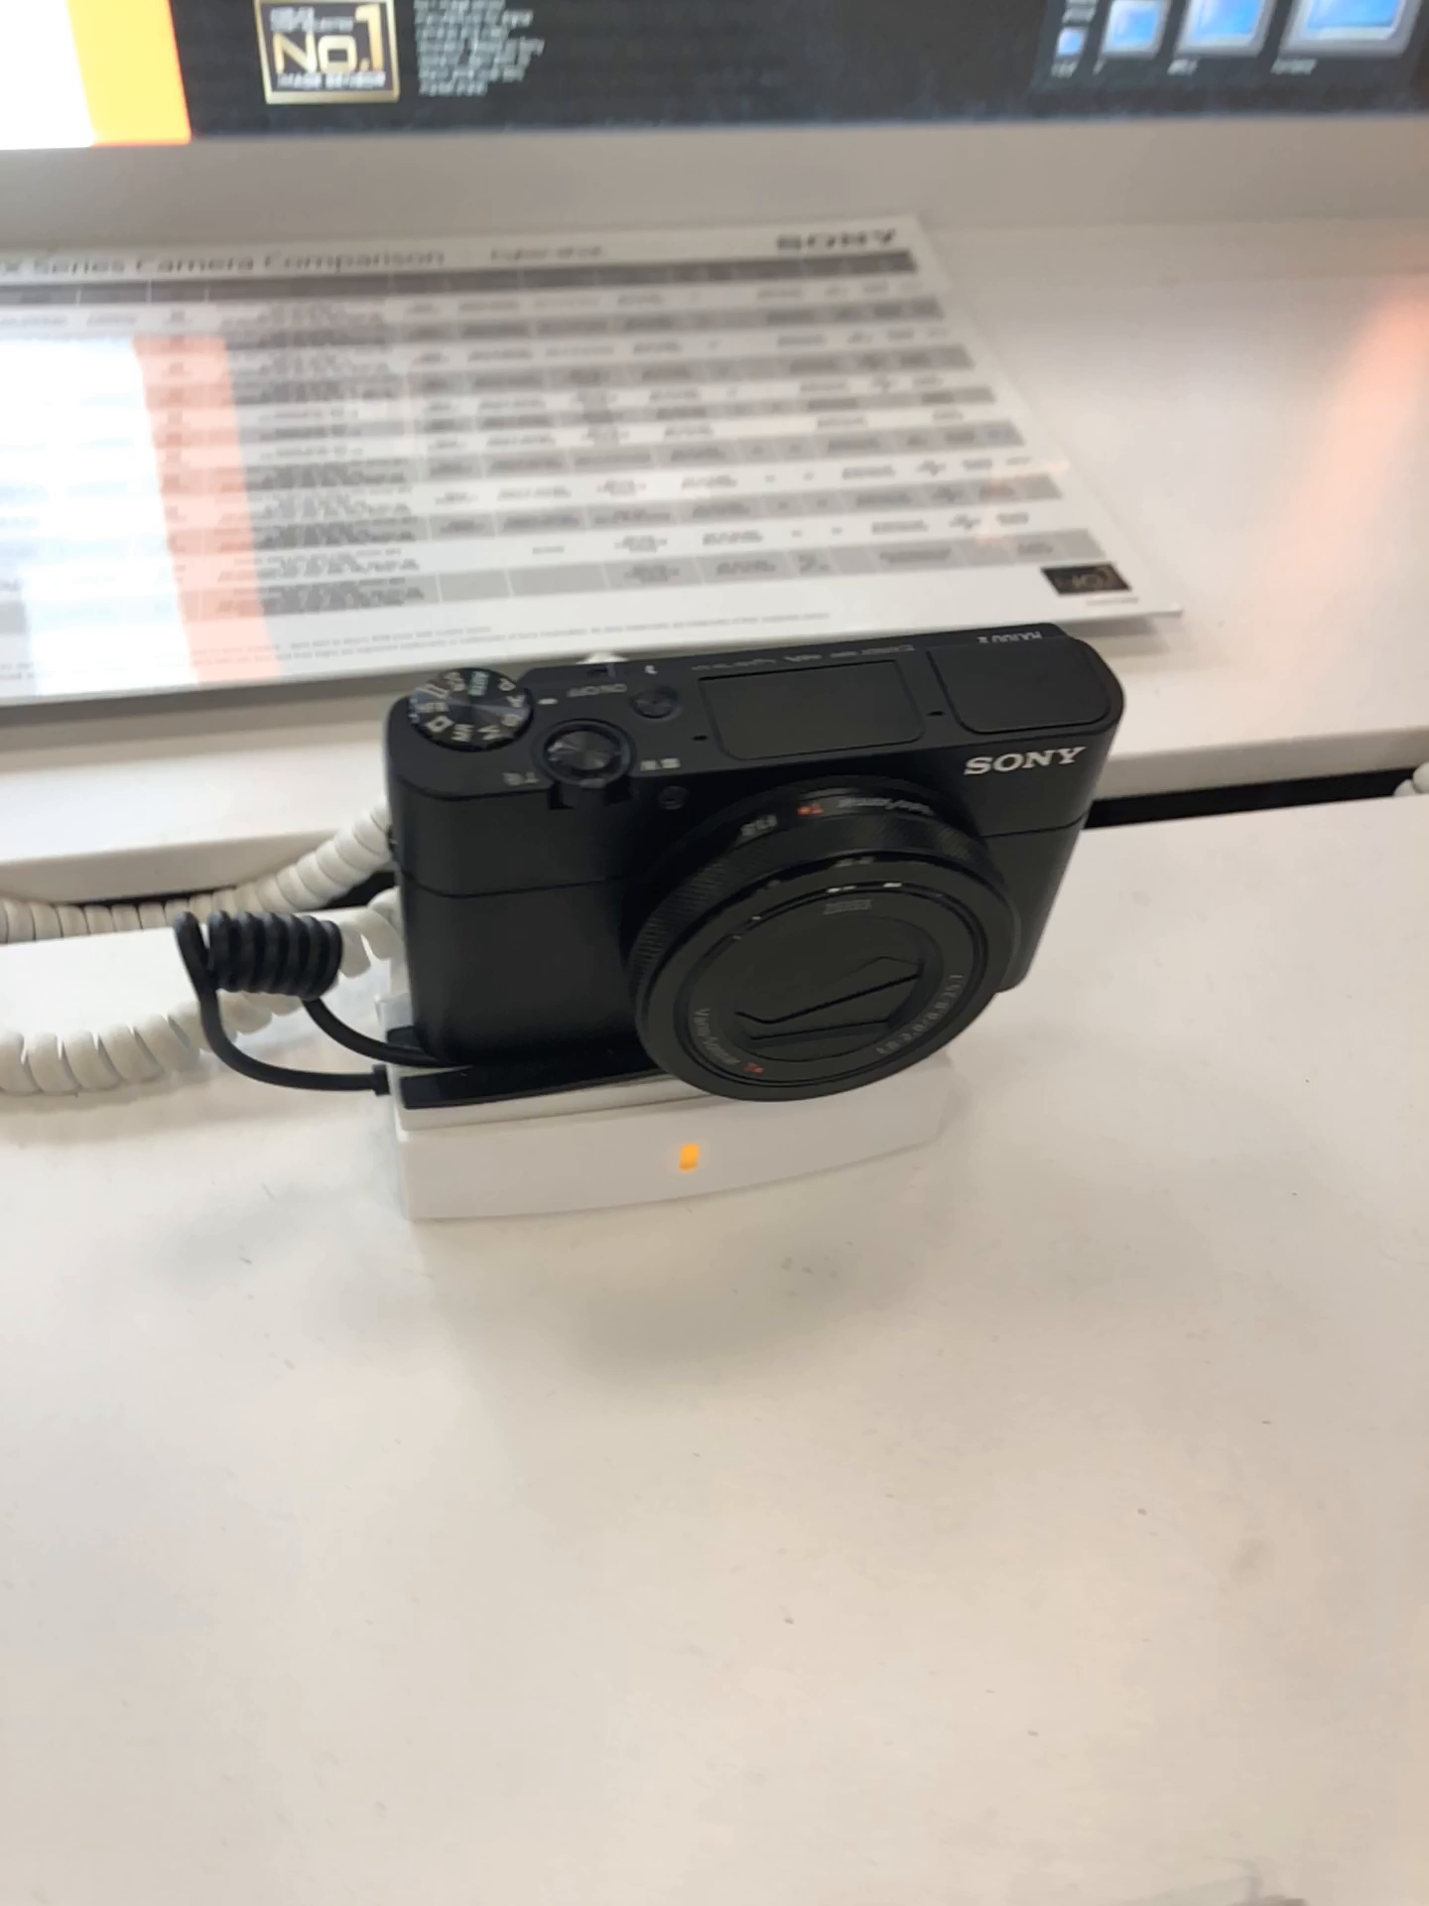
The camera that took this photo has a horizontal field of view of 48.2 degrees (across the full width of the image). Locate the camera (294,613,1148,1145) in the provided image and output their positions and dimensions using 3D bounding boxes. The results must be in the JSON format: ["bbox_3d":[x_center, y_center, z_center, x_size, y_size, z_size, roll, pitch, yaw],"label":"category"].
[{"bbox_3d":[-0.002,-0.010,0.240,0.110,0.070,0.030,-7,55,-12],"label":"camera"}]
